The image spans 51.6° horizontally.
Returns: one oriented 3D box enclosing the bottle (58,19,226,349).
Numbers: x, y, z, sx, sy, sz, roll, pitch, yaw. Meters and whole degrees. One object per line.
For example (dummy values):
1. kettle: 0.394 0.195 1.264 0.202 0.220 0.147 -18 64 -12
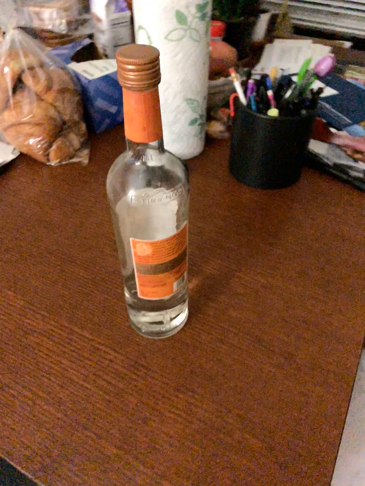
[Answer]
1. bottle: -0.030 -0.024 0.348 0.090 0.299 0.080 -13 47 -13
